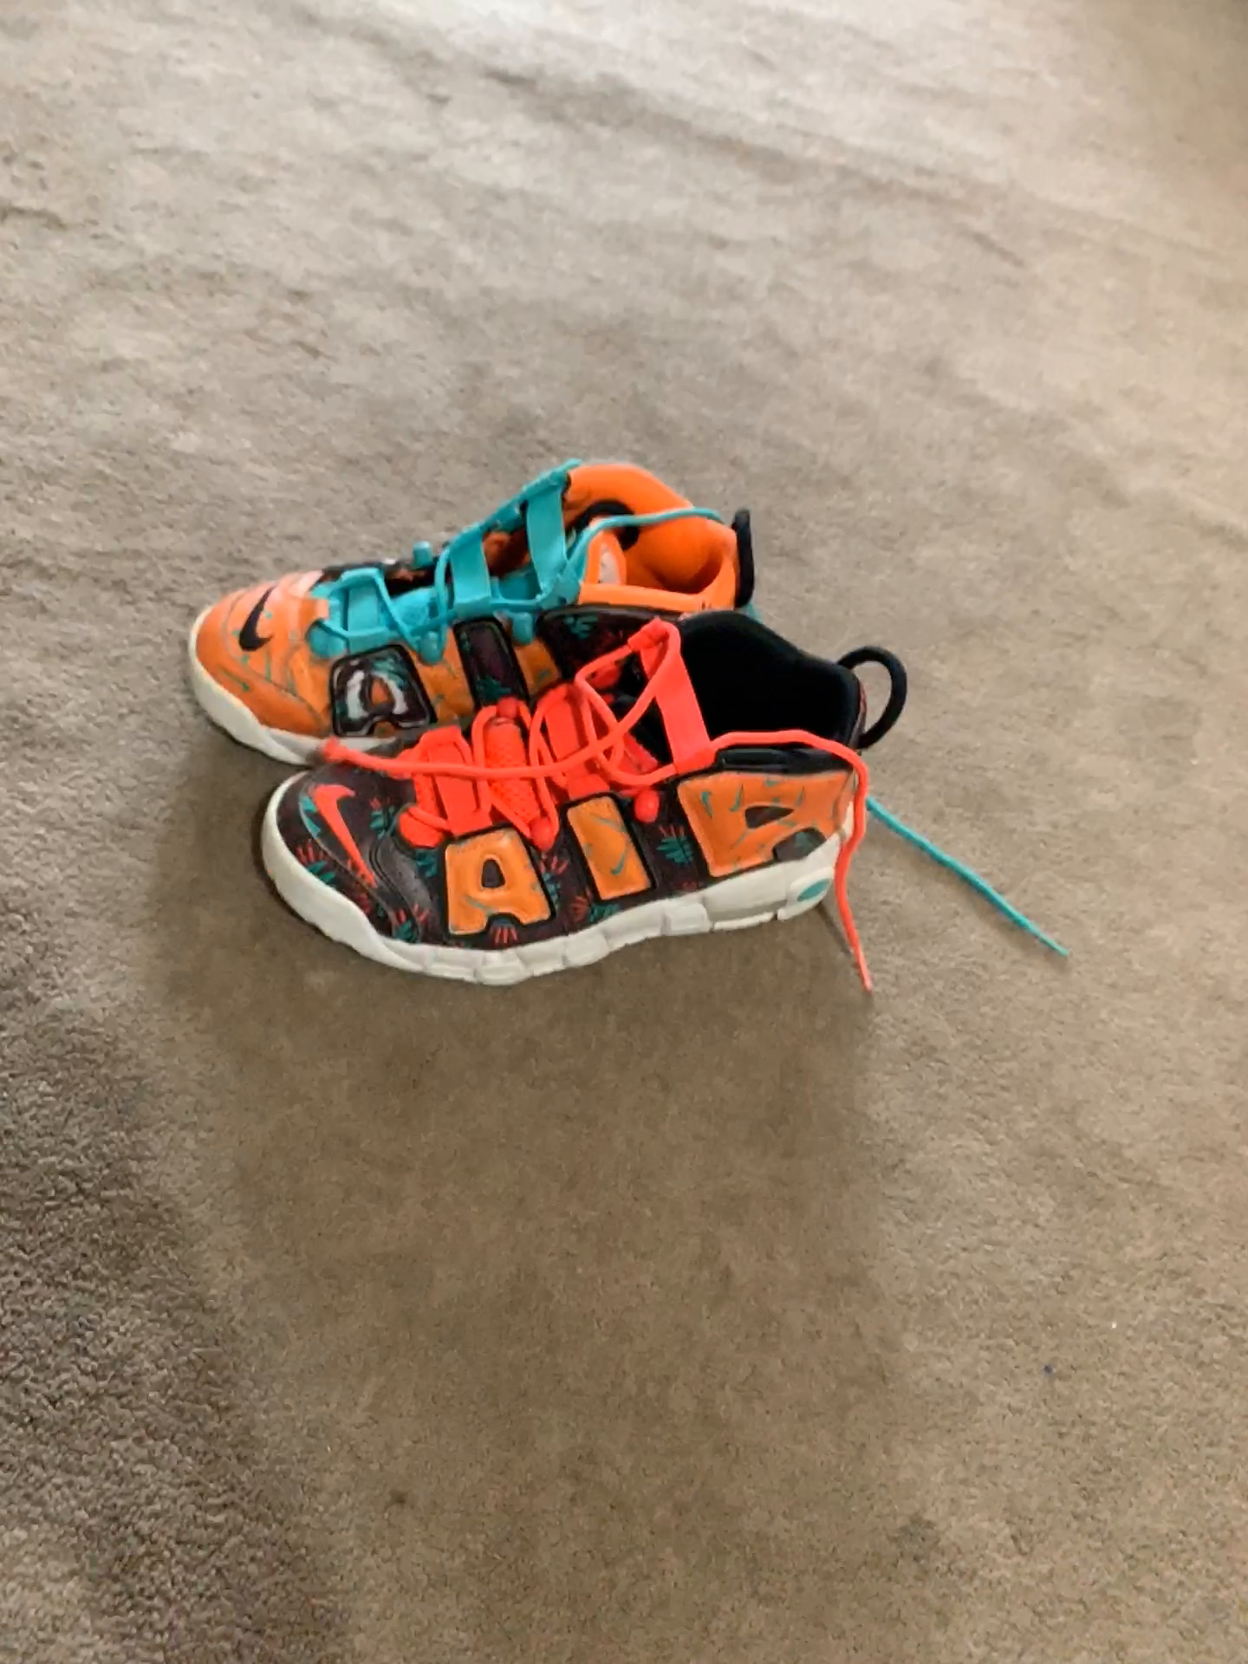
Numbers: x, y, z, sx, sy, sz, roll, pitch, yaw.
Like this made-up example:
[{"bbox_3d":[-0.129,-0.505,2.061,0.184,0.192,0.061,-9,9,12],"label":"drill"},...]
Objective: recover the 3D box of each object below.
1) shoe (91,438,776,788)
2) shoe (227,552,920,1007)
[{"bbox_3d":[-0.074,-0.092,0.539,0.250,0.089,0.101,-3,57,-6],"label":"shoe"},{"bbox_3d":[-0.023,-0.021,0.497,0.230,0.109,0.101,-8,54,-9],"label":"shoe"}]
